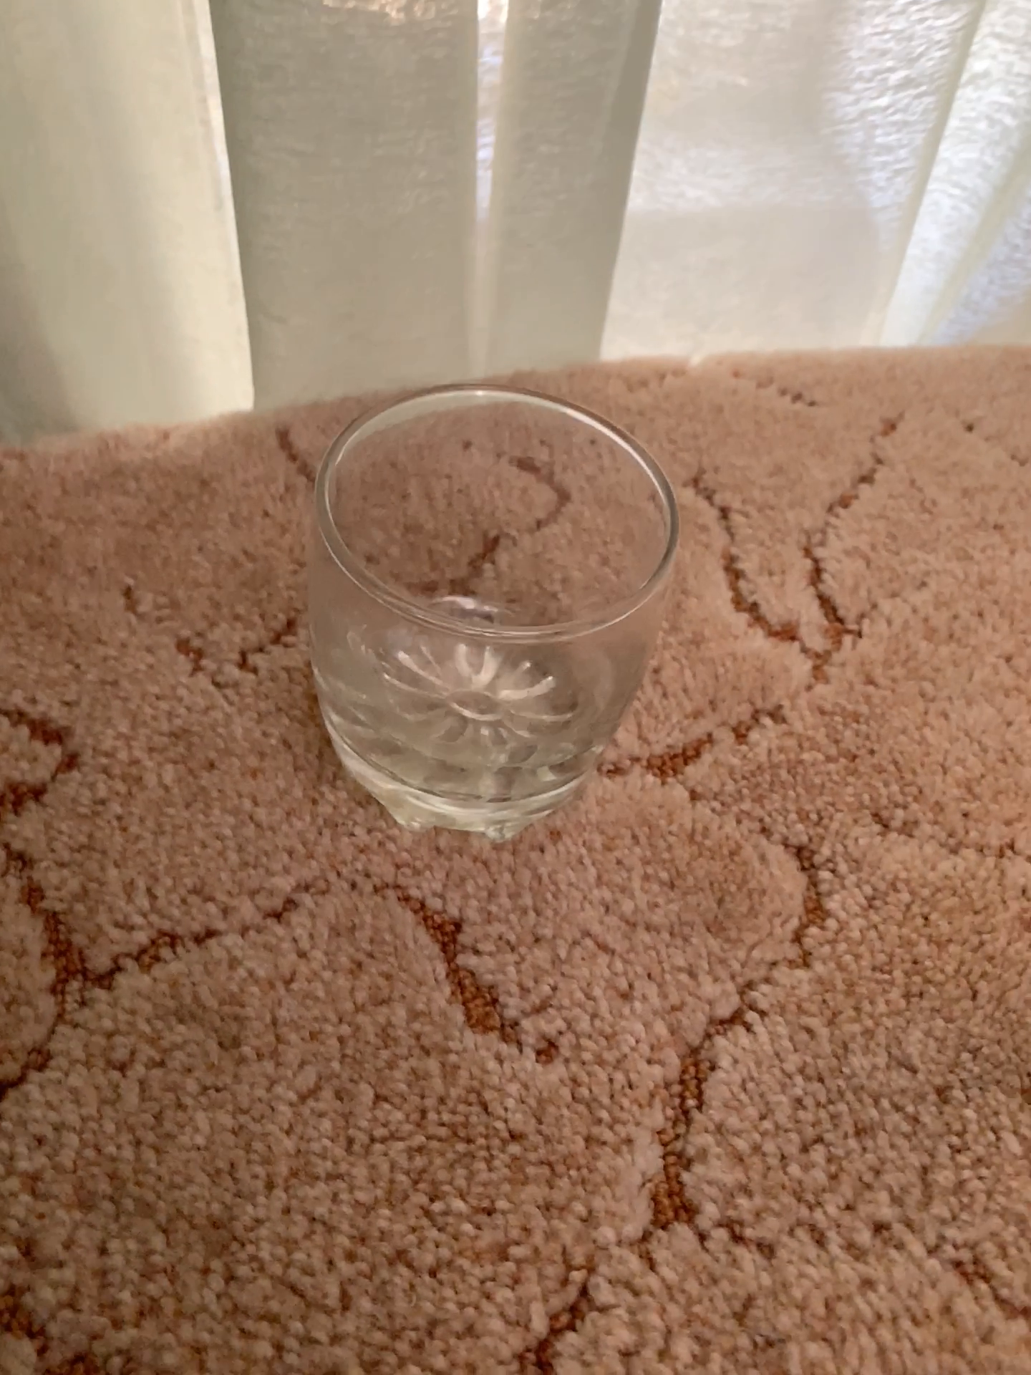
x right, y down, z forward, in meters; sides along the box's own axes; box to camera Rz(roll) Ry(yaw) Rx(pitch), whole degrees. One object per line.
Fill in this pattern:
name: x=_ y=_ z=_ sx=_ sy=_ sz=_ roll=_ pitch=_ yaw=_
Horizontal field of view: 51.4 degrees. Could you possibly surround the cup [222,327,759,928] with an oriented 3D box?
cup: x=-0.010 y=-0.016 z=0.262 sx=0.080 sy=0.089 sz=0.090 roll=-23 pitch=56 yaw=-21
